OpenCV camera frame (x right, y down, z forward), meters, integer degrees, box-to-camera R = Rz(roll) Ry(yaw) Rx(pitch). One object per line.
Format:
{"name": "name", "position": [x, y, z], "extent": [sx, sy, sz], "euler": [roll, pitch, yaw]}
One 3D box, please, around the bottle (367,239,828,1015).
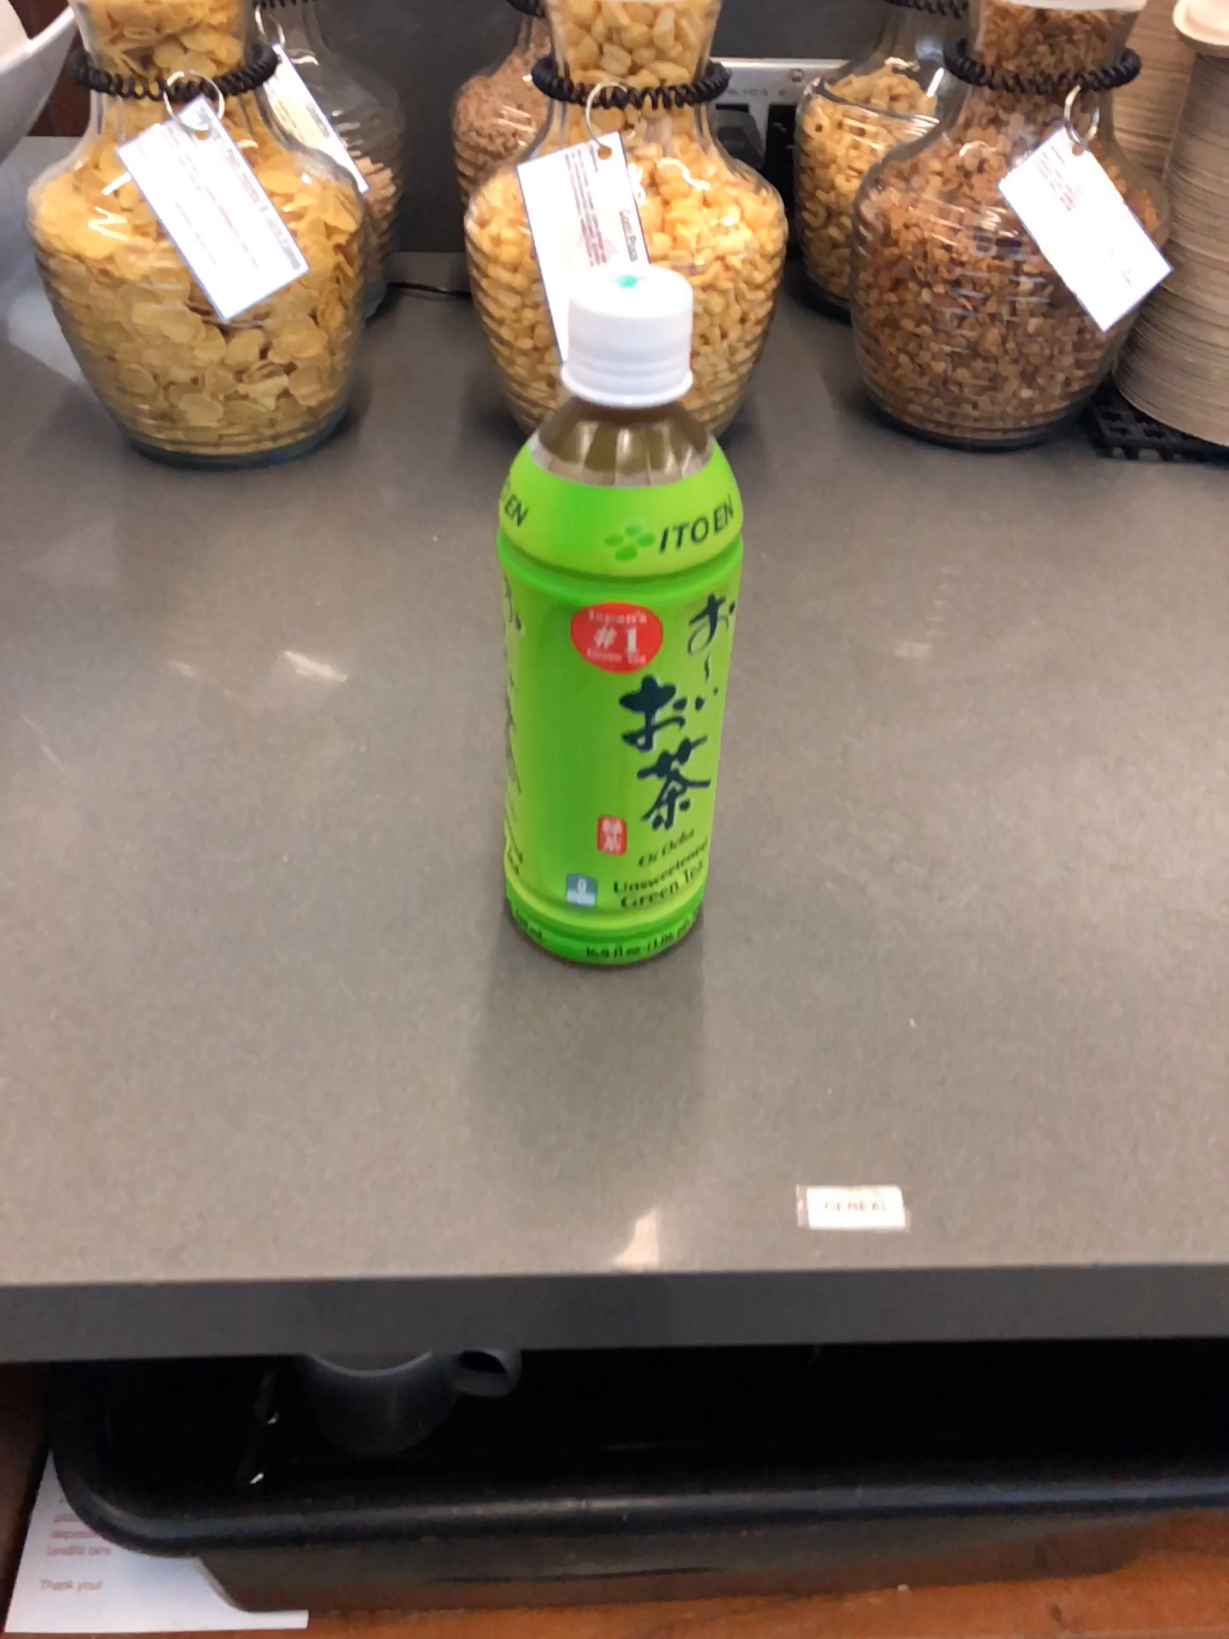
{"name": "bottle", "position": [-0.005, -0.049, 0.387], "extent": [0.080, 0.189, 0.080], "euler": [1, 41, -1]}
